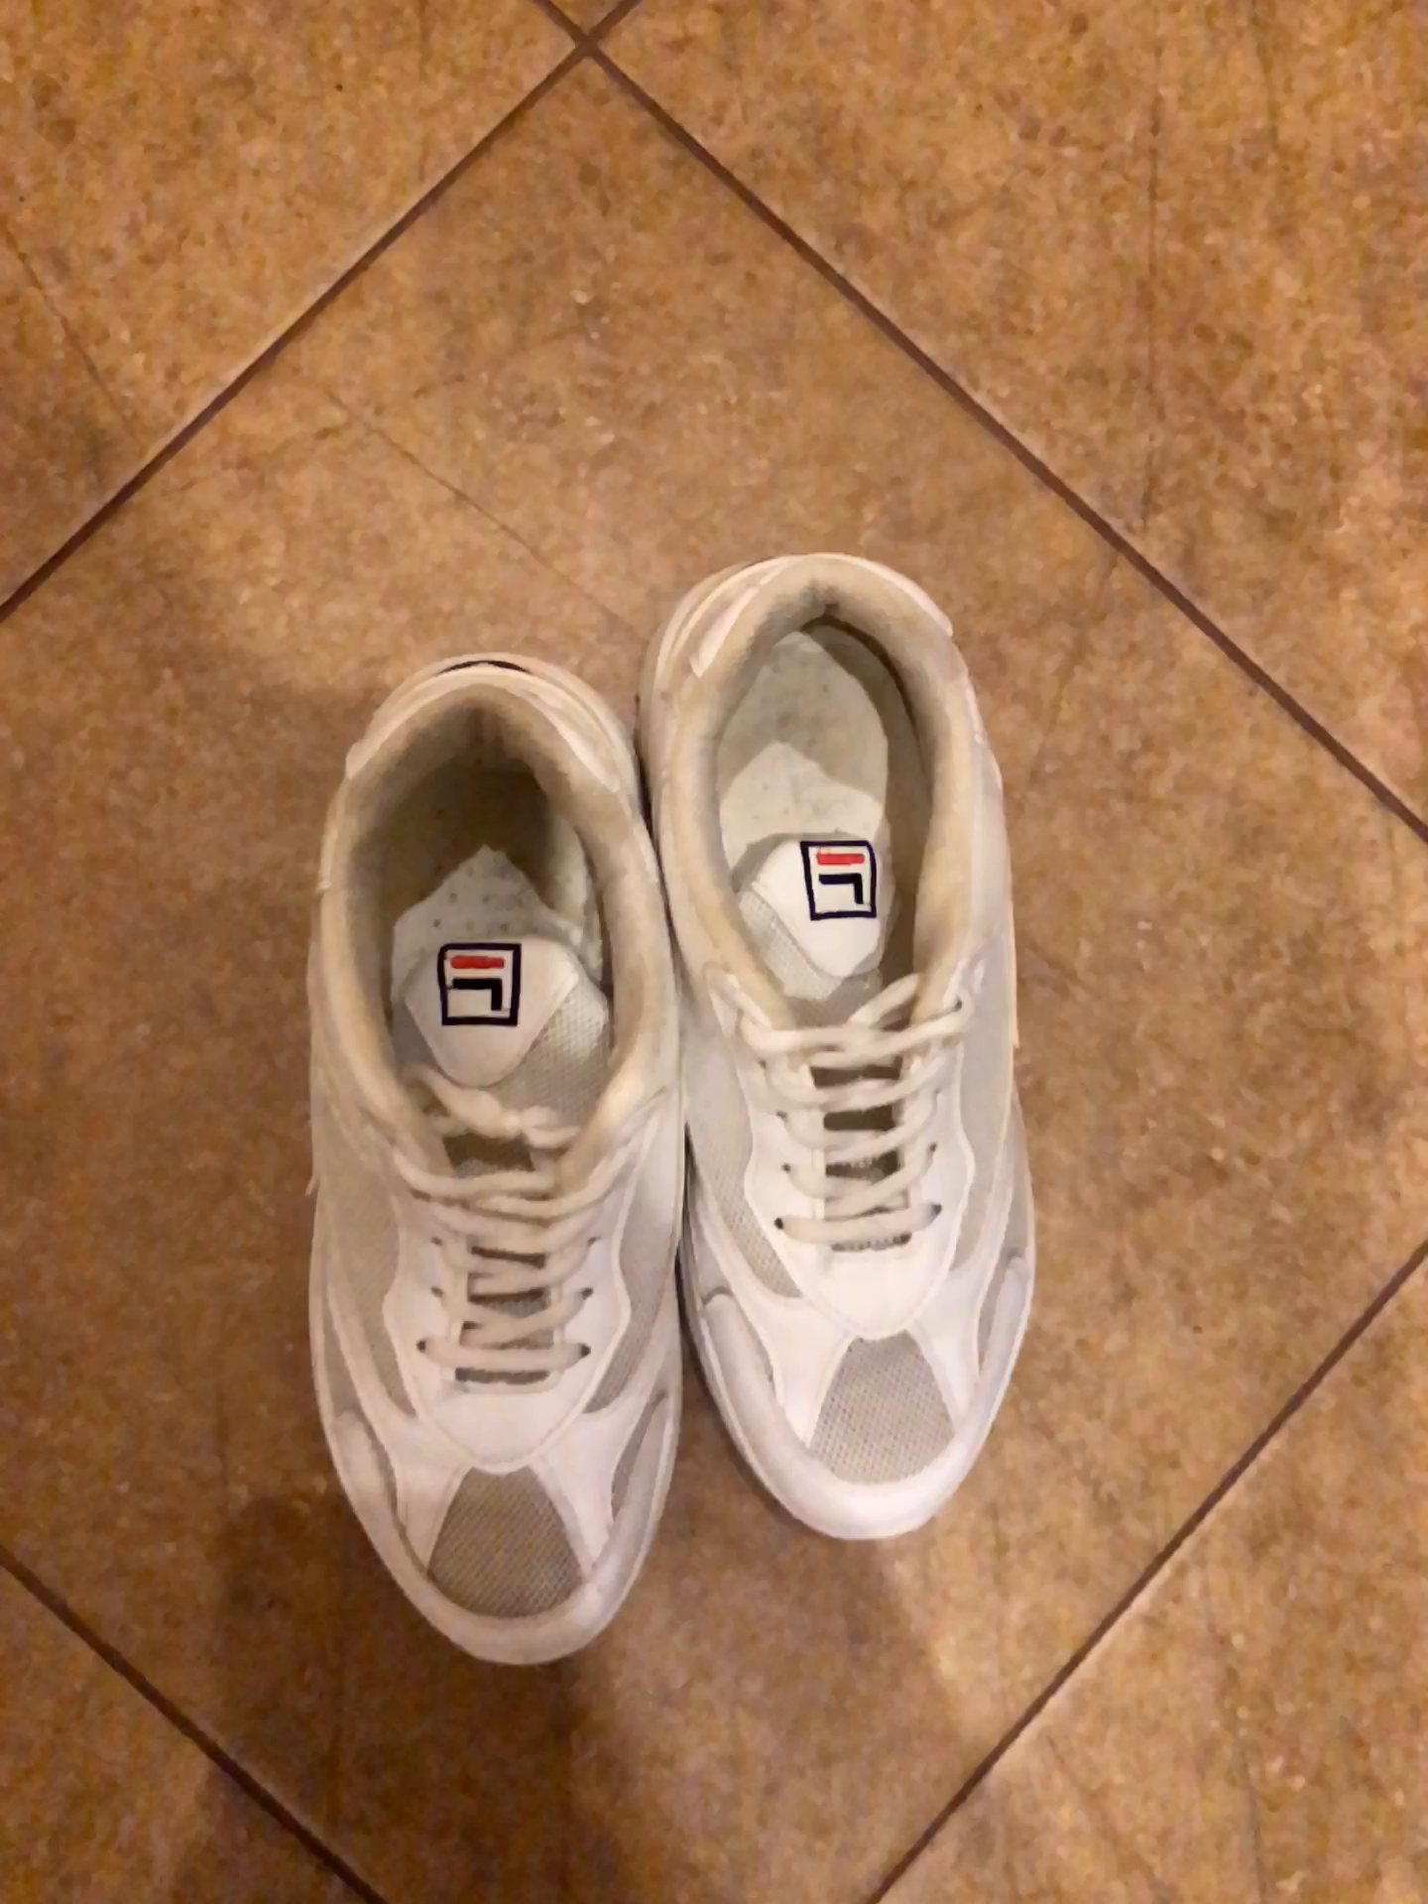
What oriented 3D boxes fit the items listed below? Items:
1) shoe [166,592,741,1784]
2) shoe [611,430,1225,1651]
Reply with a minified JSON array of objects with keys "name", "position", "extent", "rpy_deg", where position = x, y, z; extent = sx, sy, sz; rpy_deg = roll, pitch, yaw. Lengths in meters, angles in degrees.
[{"name":"shoe","position":[-0.059,0.048,0.380],"extent":[0.110,0.110,0.240],"rpy_deg":[-2,87,-4]},{"name":"shoe","position":[0.039,0.018,0.386],"extent":[0.110,0.110,0.250],"rpy_deg":[-4,87,-4]}]
